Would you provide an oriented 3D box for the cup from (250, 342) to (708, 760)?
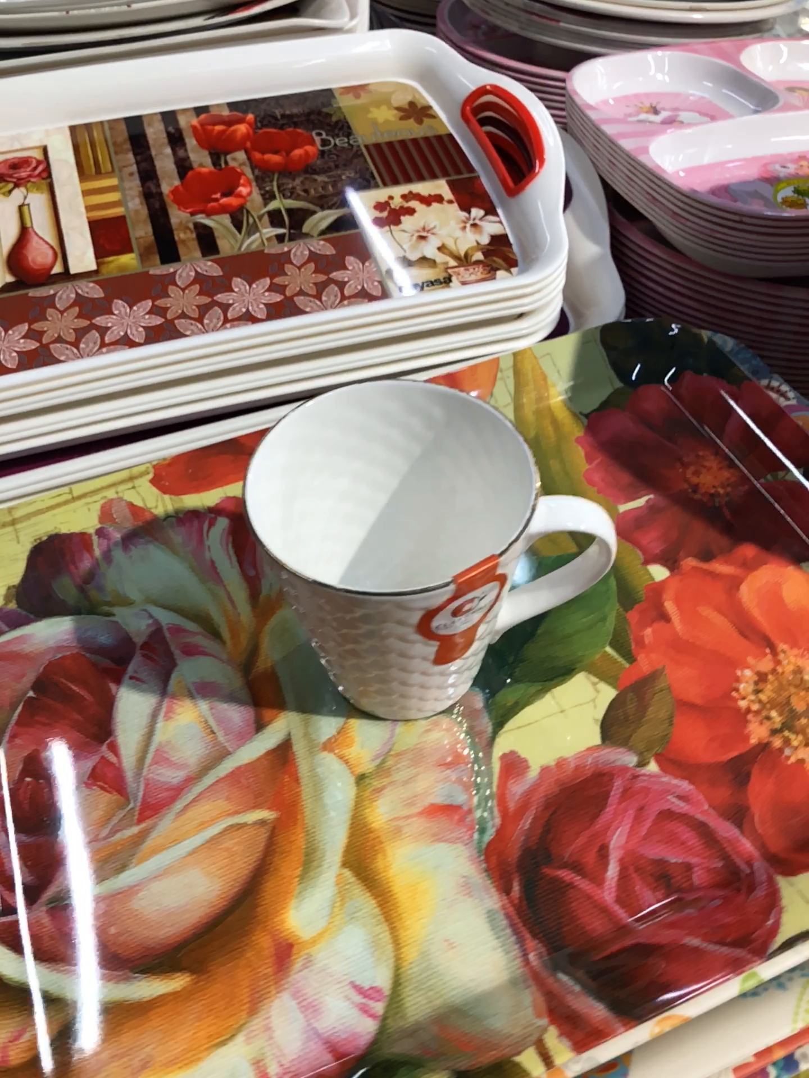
[{"bbox_3d":[0.019,0.004,0.302,0.120,0.089,0.101,-3,47,0],"label":"cup"}]
